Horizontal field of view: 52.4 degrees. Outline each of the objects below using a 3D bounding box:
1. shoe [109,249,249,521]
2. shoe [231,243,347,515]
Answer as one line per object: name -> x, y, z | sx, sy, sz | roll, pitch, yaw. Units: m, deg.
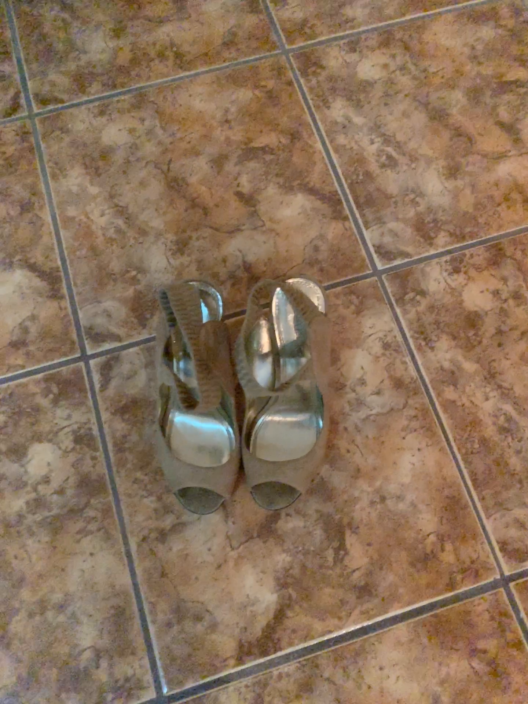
shoe -> -0.063, 0.037, 0.479 | 0.081, 0.140, 0.209 | 2, 71, 2
shoe -> 0.023, 0.033, 0.477 | 0.081, 0.150, 0.204 | 2, 71, 2
